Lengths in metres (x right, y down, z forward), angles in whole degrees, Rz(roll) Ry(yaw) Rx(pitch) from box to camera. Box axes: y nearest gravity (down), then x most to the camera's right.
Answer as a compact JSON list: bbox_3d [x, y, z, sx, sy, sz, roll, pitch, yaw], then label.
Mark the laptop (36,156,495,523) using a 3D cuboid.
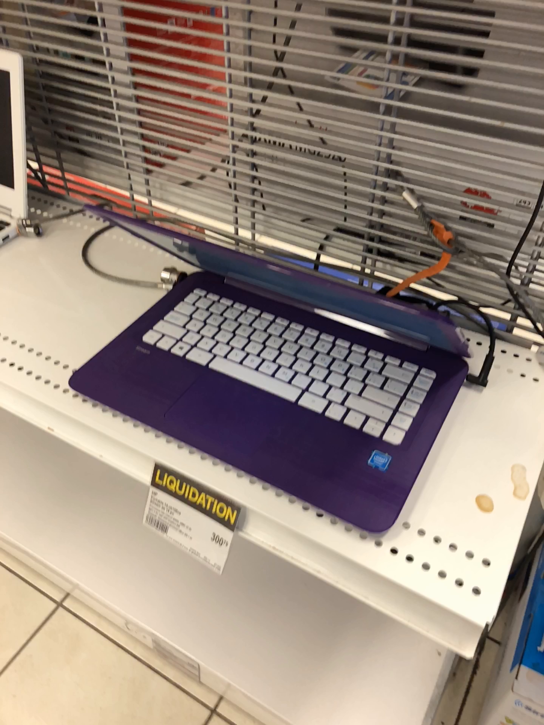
[{"bbox_3d":[-0.004,-0.042,0.530,0.305,0.138,0.206,21,50,23],"label":"laptop"}]
